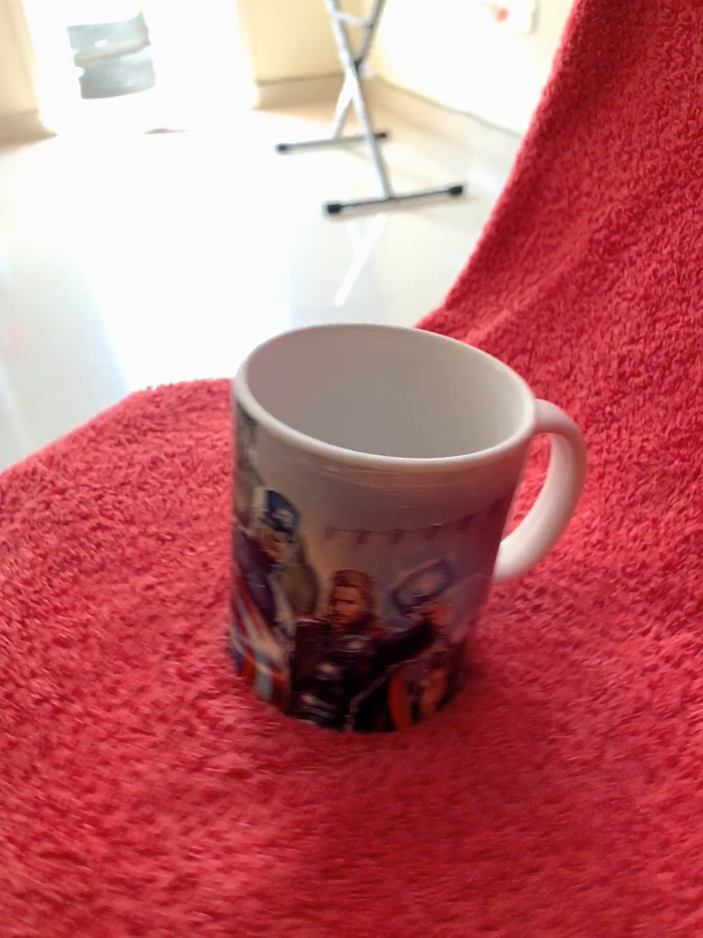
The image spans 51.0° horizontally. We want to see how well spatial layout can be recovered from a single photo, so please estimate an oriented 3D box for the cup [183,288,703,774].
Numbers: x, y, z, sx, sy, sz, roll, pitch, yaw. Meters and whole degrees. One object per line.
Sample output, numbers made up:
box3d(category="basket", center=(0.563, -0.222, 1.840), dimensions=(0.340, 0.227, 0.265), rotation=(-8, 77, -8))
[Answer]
box3d(category="cup", center=(0.019, 0.010, 0.221), dimensions=(0.120, 0.089, 0.091), rotation=(-8, 40, -18))
